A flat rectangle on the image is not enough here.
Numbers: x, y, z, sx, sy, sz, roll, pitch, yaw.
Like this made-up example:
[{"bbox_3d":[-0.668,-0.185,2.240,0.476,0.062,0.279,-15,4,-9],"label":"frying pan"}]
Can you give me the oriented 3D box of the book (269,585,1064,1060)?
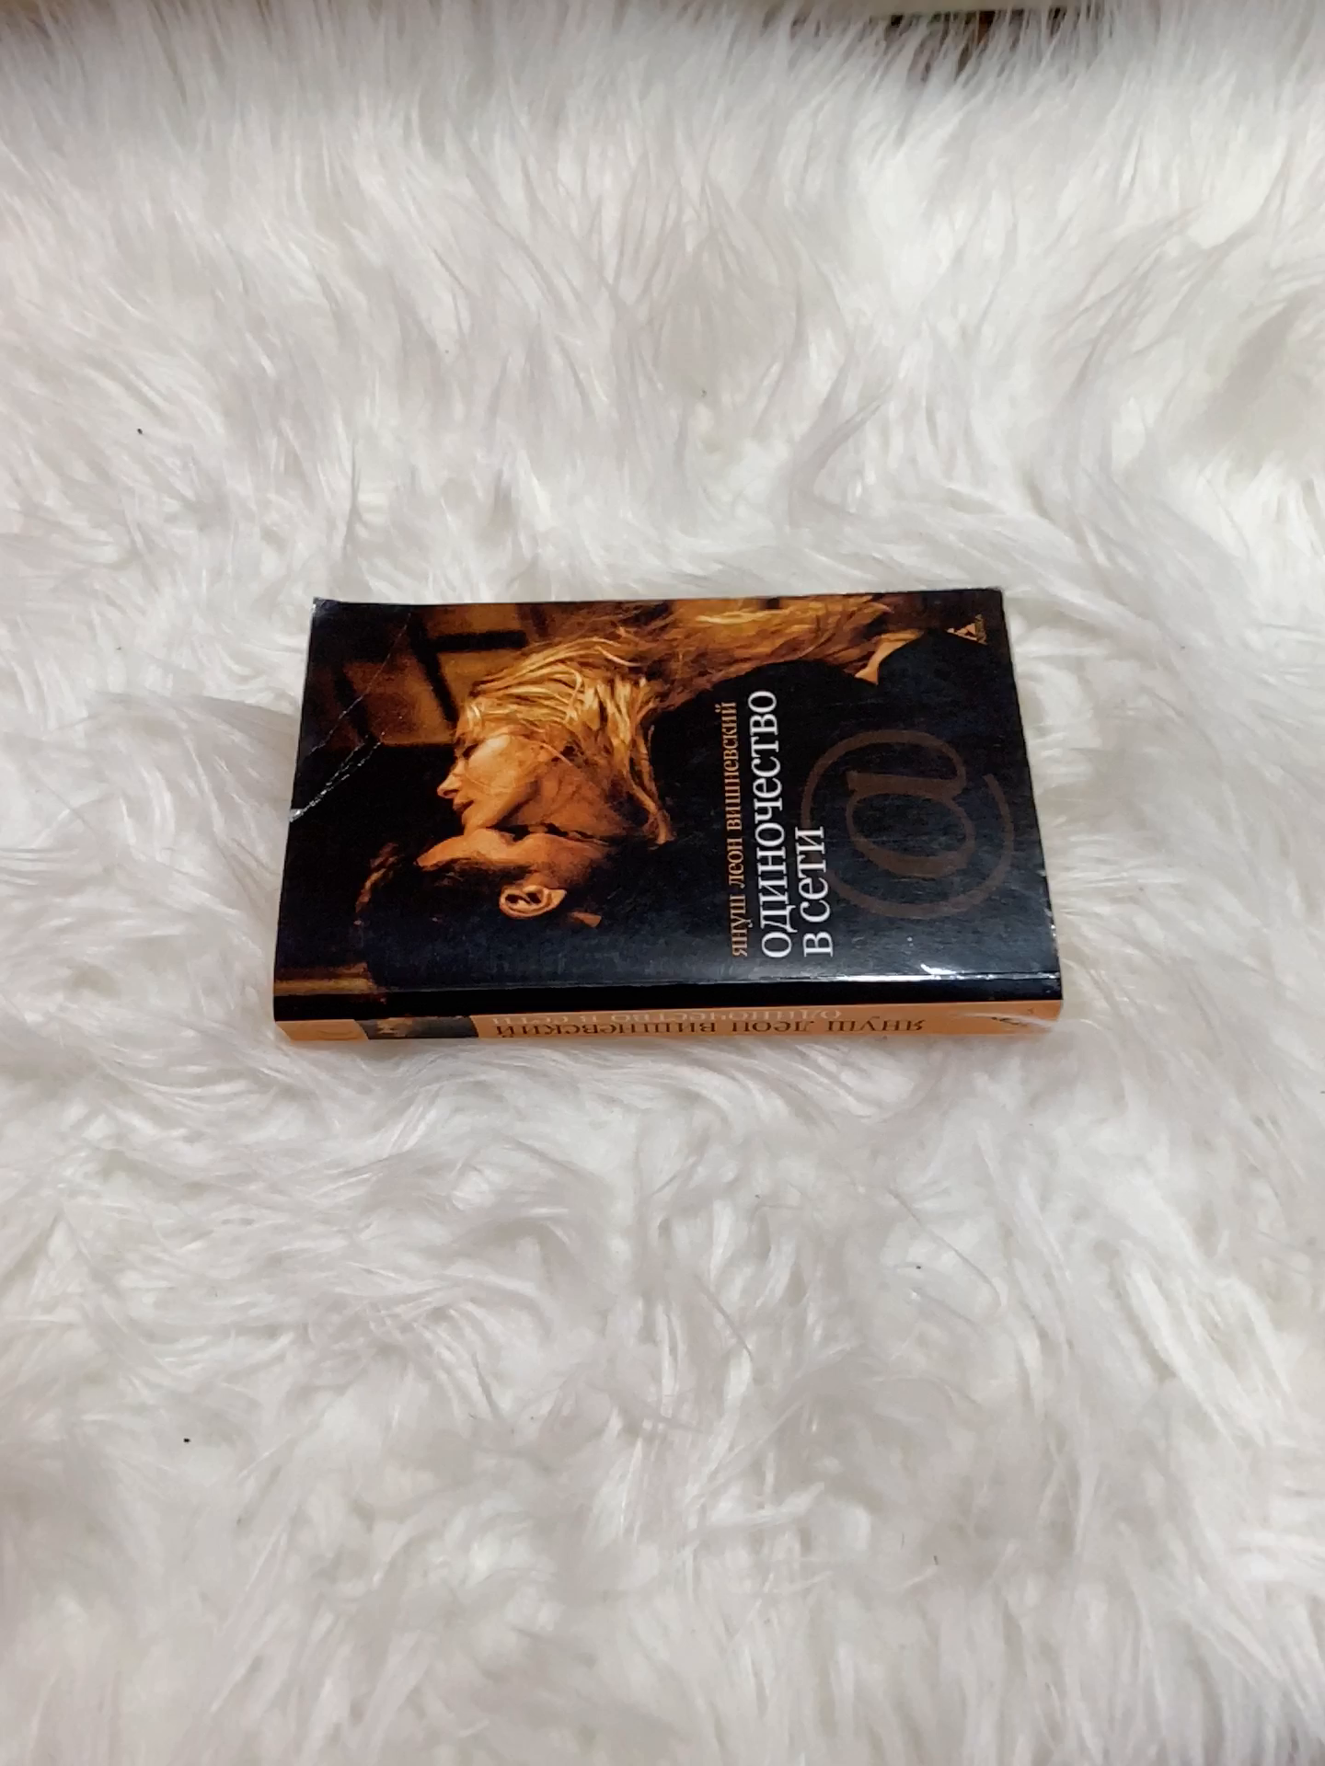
[{"bbox_3d":[-0.001,-0.017,0.339,0.176,0.030,0.114,-2,64,-1],"label":"book"}]
